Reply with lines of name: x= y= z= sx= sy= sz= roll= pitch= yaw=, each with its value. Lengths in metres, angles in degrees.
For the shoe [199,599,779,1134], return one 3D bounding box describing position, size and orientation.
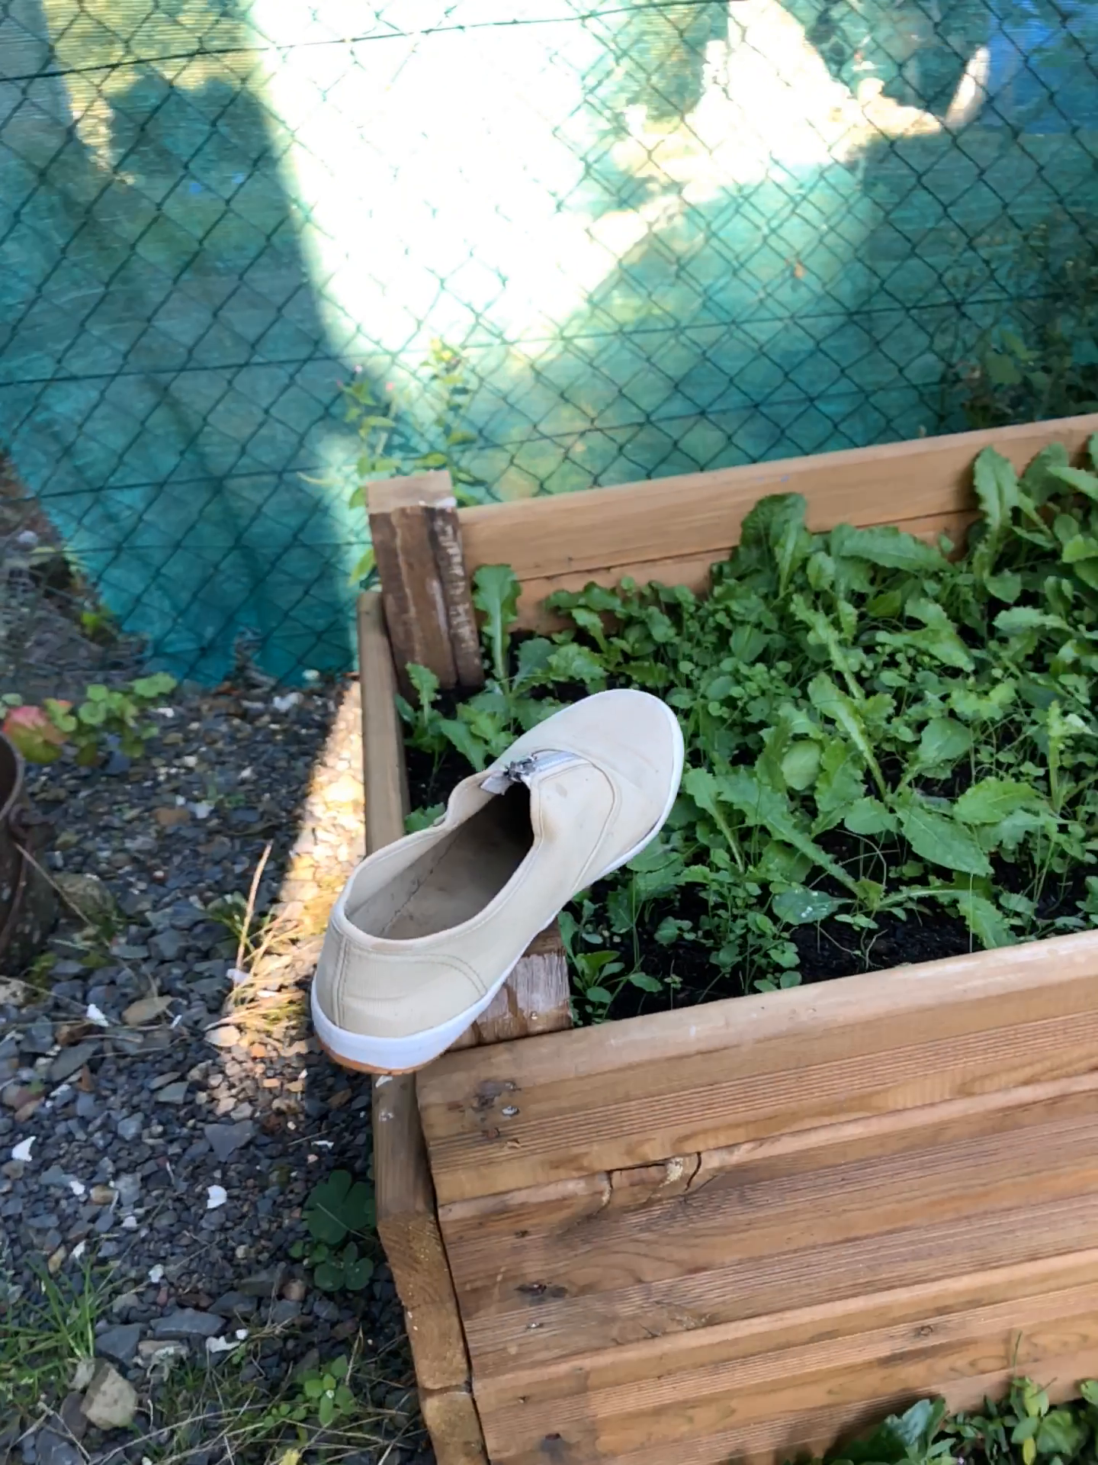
shoe: x=-0.010 y=0.038 z=0.536 sx=0.110 sy=0.070 sz=0.262 roll=19 pitch=41 yaw=32
